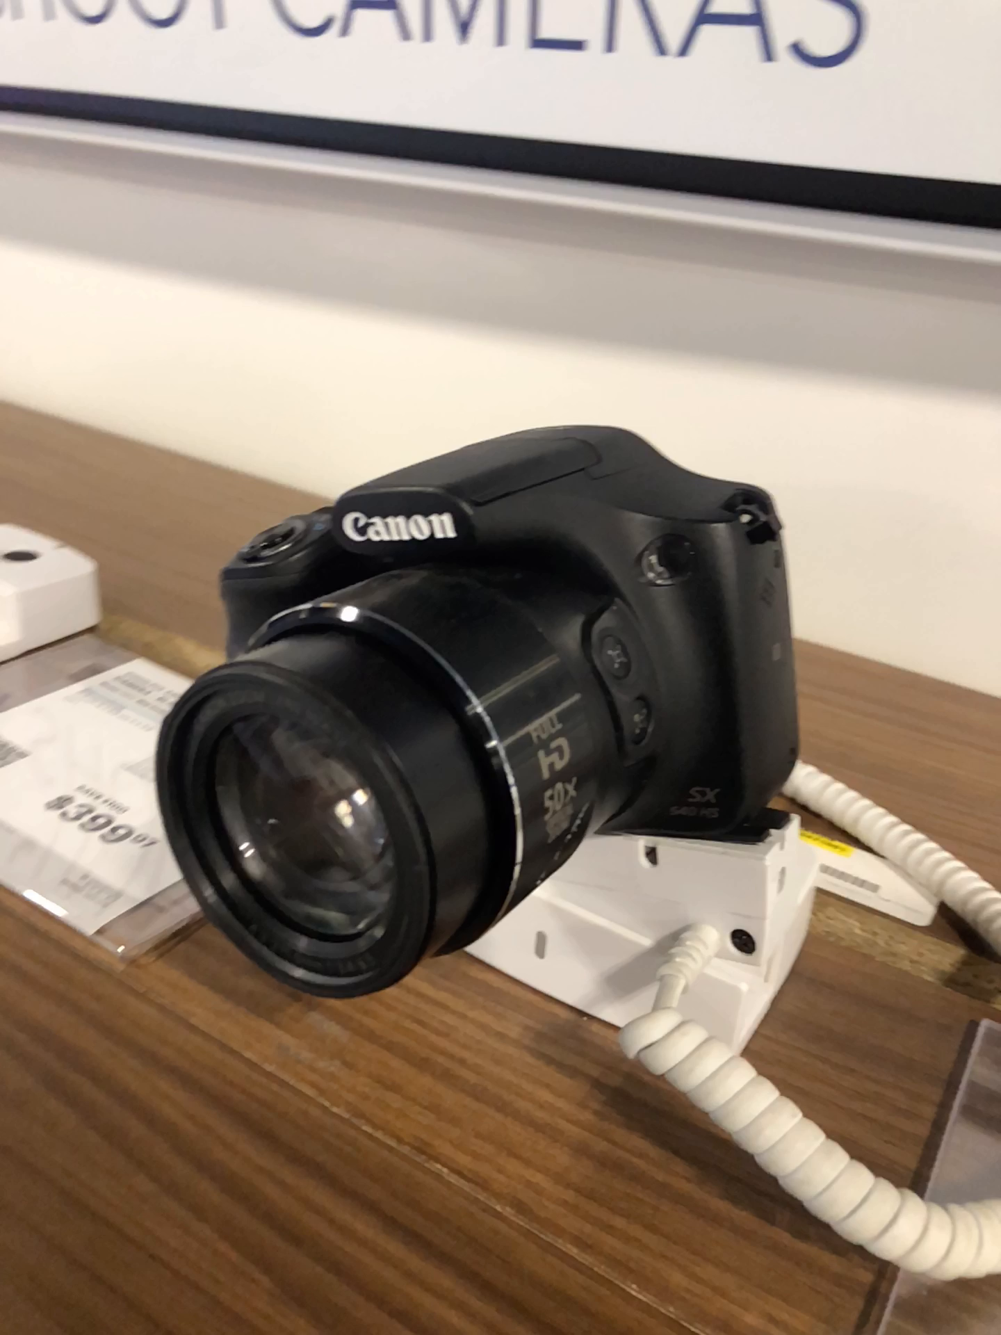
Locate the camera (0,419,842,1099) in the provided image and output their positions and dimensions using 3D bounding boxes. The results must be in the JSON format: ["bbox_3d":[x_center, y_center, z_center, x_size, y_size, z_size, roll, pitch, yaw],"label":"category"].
[{"bbox_3d":[-0.015,-0.001,0.228,0.130,0.070,0.140,2,19,31],"label":"camera"}]
